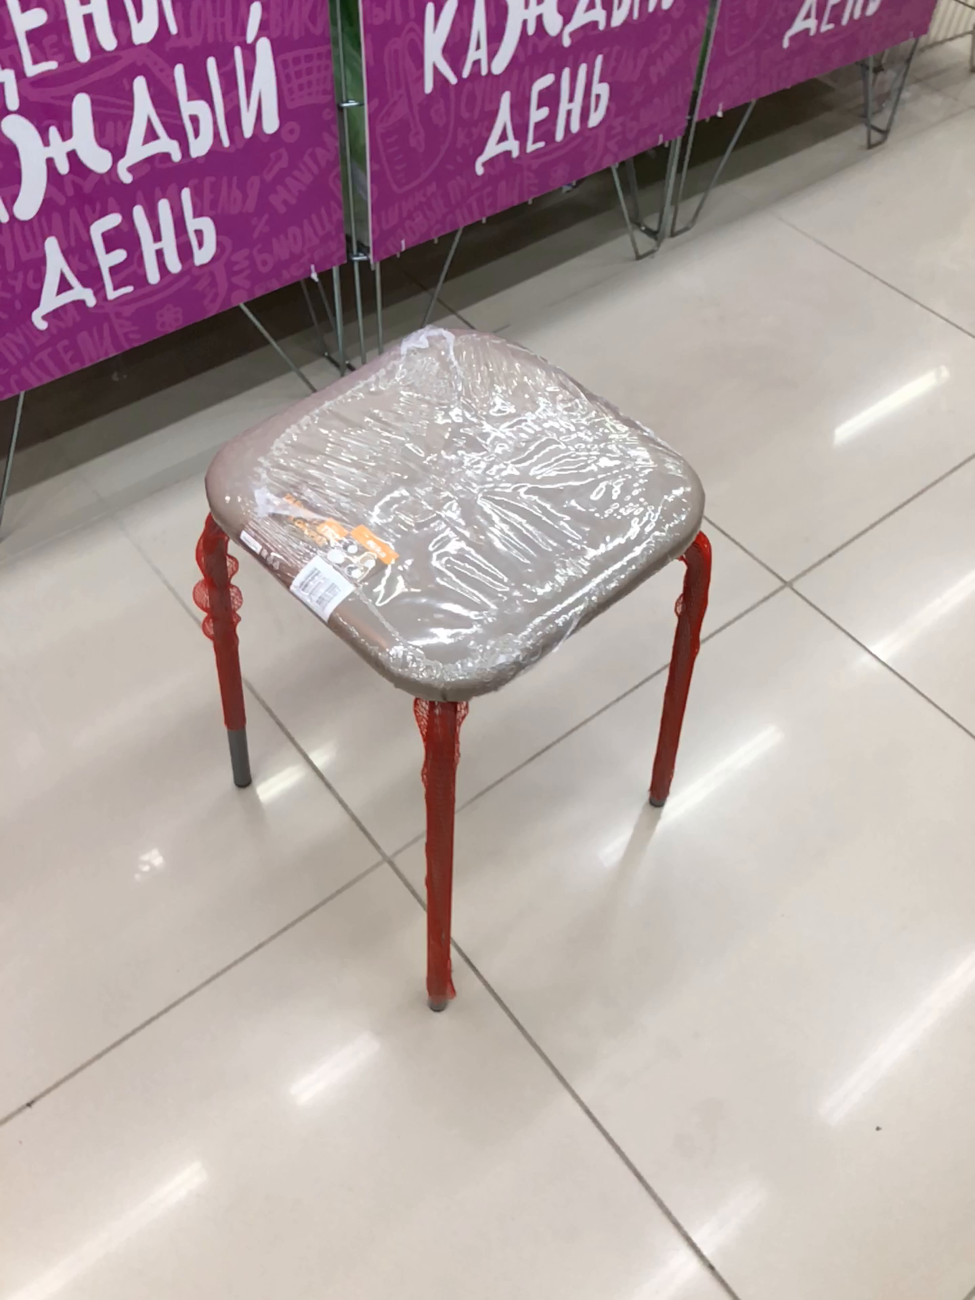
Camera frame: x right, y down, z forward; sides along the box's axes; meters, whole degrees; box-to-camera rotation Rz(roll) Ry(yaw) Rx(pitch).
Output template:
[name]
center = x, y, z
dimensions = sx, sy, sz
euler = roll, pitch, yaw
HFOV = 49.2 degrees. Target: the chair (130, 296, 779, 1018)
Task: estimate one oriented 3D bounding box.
[chair]
center = -0.030, 0.017, 0.940
dimensions = 0.331, 0.437, 0.331
euler = -36, 62, -26
